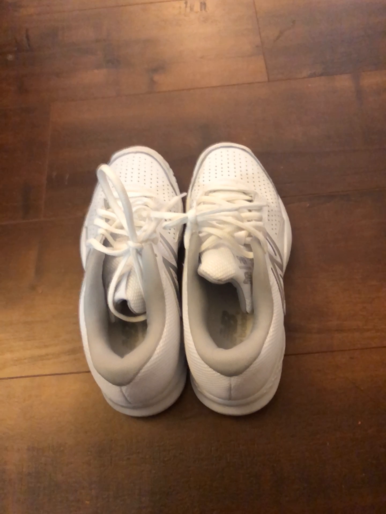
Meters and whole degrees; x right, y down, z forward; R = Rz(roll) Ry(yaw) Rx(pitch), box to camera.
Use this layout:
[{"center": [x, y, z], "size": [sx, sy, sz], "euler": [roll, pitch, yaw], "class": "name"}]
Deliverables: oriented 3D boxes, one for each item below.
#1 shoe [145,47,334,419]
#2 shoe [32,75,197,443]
[{"center": [0.038, -0.014, 0.413], "size": [0.120, 0.170, 0.311], "euler": [-3, 66, 6], "class": "shoe"}, {"center": [-0.058, 0.001, 0.398], "size": [0.100, 0.130, 0.311], "euler": [-4, 66, 2], "class": "shoe"}]
